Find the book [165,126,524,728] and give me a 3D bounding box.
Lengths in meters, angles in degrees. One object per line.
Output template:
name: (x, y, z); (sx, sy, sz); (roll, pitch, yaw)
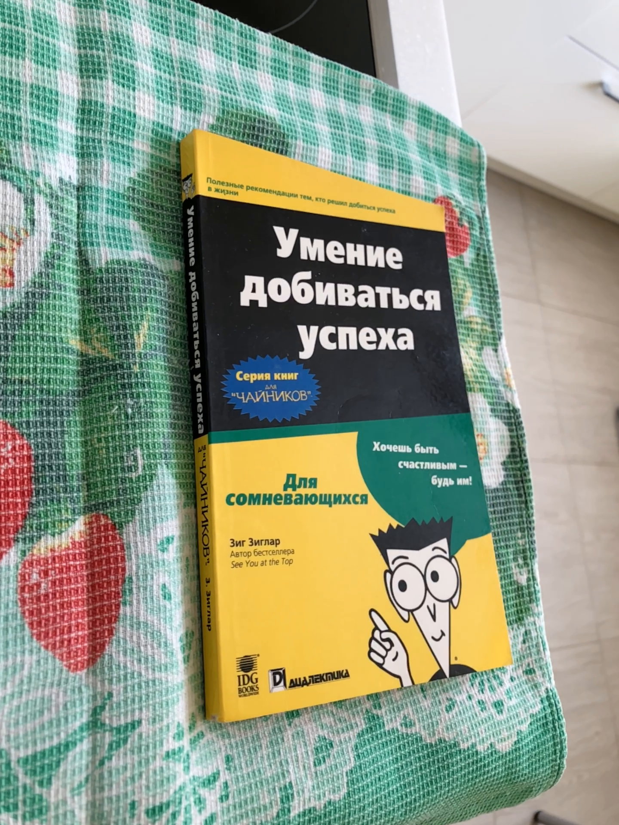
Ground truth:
book: (0.012, 0.000, 0.228); (0.113, 0.017, 0.172); (4, 73, -32)
